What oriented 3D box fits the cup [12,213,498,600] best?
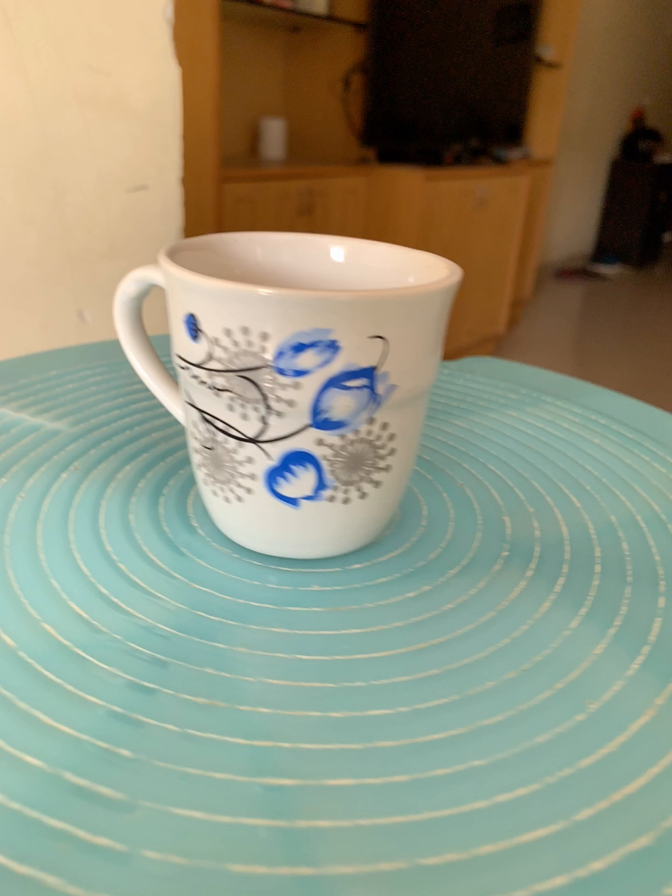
[{"bbox_3d":[-0.012,-0.017,0.170,0.090,0.060,0.070,8,25,10],"label":"cup"}]
